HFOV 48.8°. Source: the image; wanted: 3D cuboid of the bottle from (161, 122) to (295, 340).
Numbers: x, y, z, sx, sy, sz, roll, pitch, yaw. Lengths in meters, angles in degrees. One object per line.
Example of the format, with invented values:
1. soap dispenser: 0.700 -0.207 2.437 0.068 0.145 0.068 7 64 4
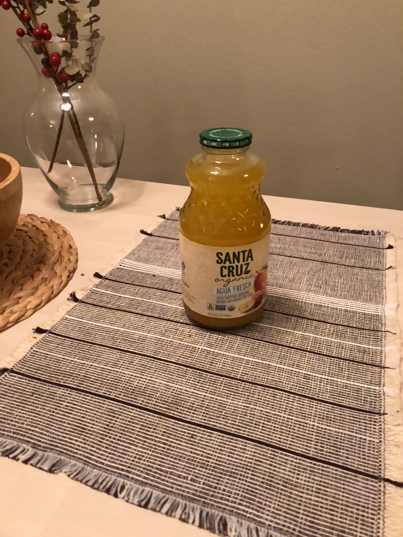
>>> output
1. bottle: 0.021 -0.040 0.456 0.100 0.189 0.101 -1 29 0
